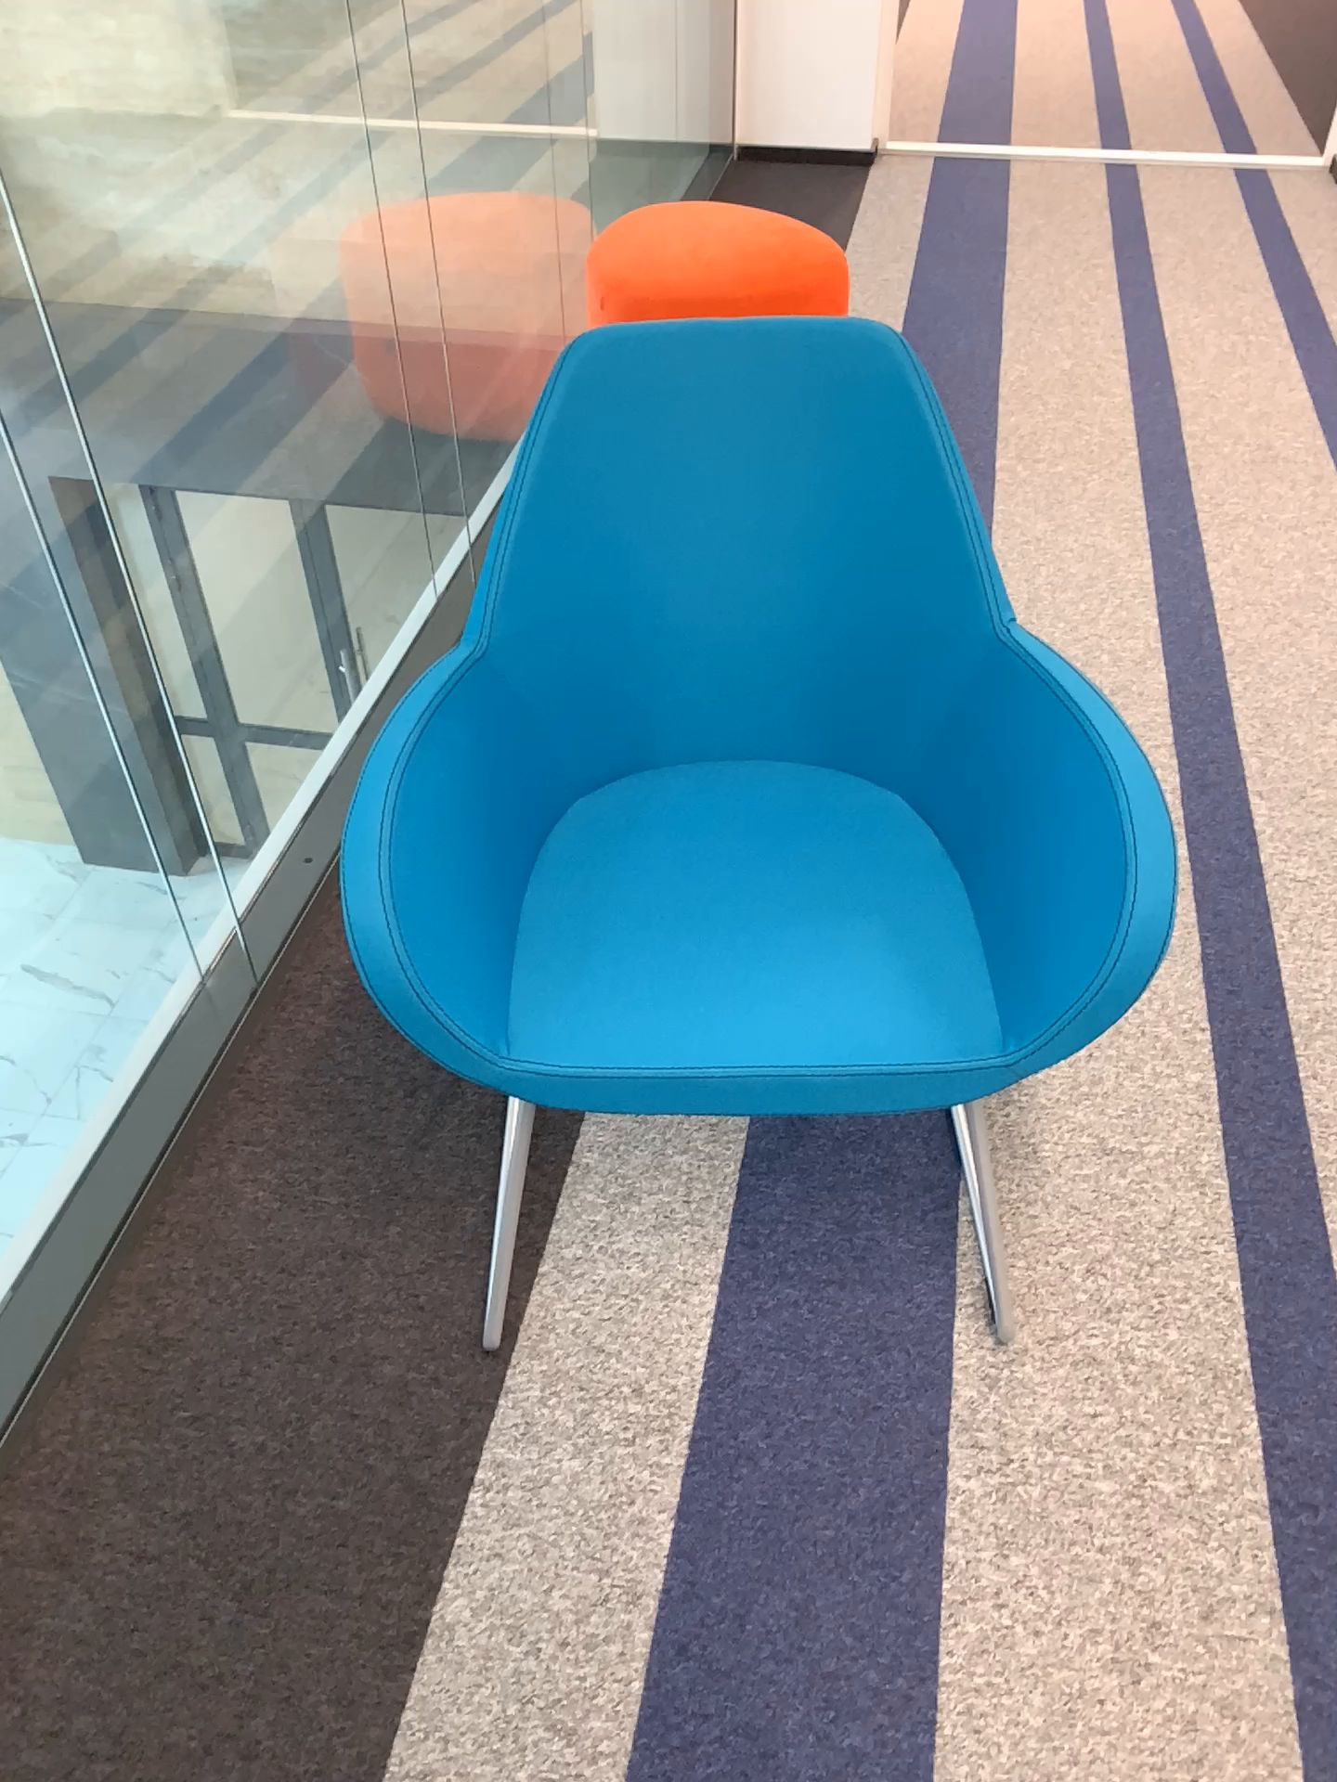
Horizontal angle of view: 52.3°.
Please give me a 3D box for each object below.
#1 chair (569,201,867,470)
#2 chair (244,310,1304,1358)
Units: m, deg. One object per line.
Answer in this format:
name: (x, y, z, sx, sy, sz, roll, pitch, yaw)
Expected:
chair: (0.113, -1.360, 3.306, 0.639, 0.396, 0.654, 0, 43, 1)
chair: (0.075, -0.041, 1.385, 0.671, 0.835, 0.654, 0, 42, 1)
